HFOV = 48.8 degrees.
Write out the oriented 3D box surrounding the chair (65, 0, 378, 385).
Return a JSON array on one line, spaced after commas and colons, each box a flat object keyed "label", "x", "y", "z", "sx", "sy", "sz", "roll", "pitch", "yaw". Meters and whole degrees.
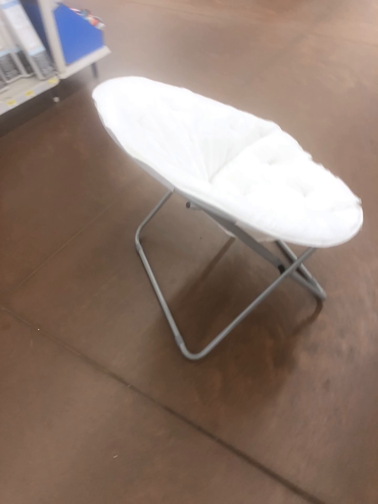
[{"label": "chair", "x": 0.151, "y": -0.222, "z": 1.229, "sx": 0.750, "sy": 0.648, "sz": 0.763, "roll": -17, "pitch": 47, "yaw": -13}]
